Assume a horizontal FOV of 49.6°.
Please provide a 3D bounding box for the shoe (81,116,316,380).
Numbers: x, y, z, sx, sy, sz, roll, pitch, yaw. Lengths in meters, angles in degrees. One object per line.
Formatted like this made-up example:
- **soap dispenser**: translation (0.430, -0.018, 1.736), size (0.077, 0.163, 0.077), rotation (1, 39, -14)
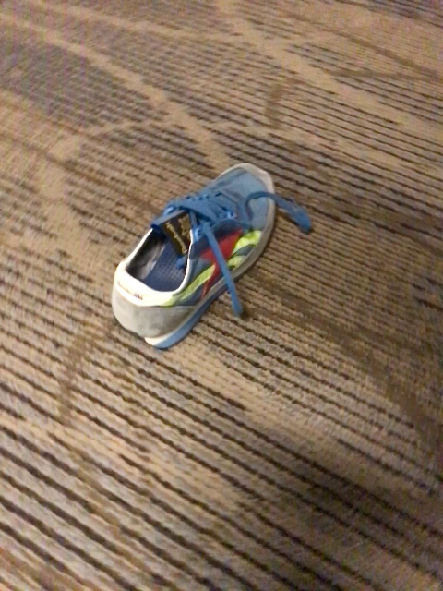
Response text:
- **shoe**: translation (-0.012, -0.059, 0.504), size (0.101, 0.095, 0.261), rotation (29, 63, 16)
